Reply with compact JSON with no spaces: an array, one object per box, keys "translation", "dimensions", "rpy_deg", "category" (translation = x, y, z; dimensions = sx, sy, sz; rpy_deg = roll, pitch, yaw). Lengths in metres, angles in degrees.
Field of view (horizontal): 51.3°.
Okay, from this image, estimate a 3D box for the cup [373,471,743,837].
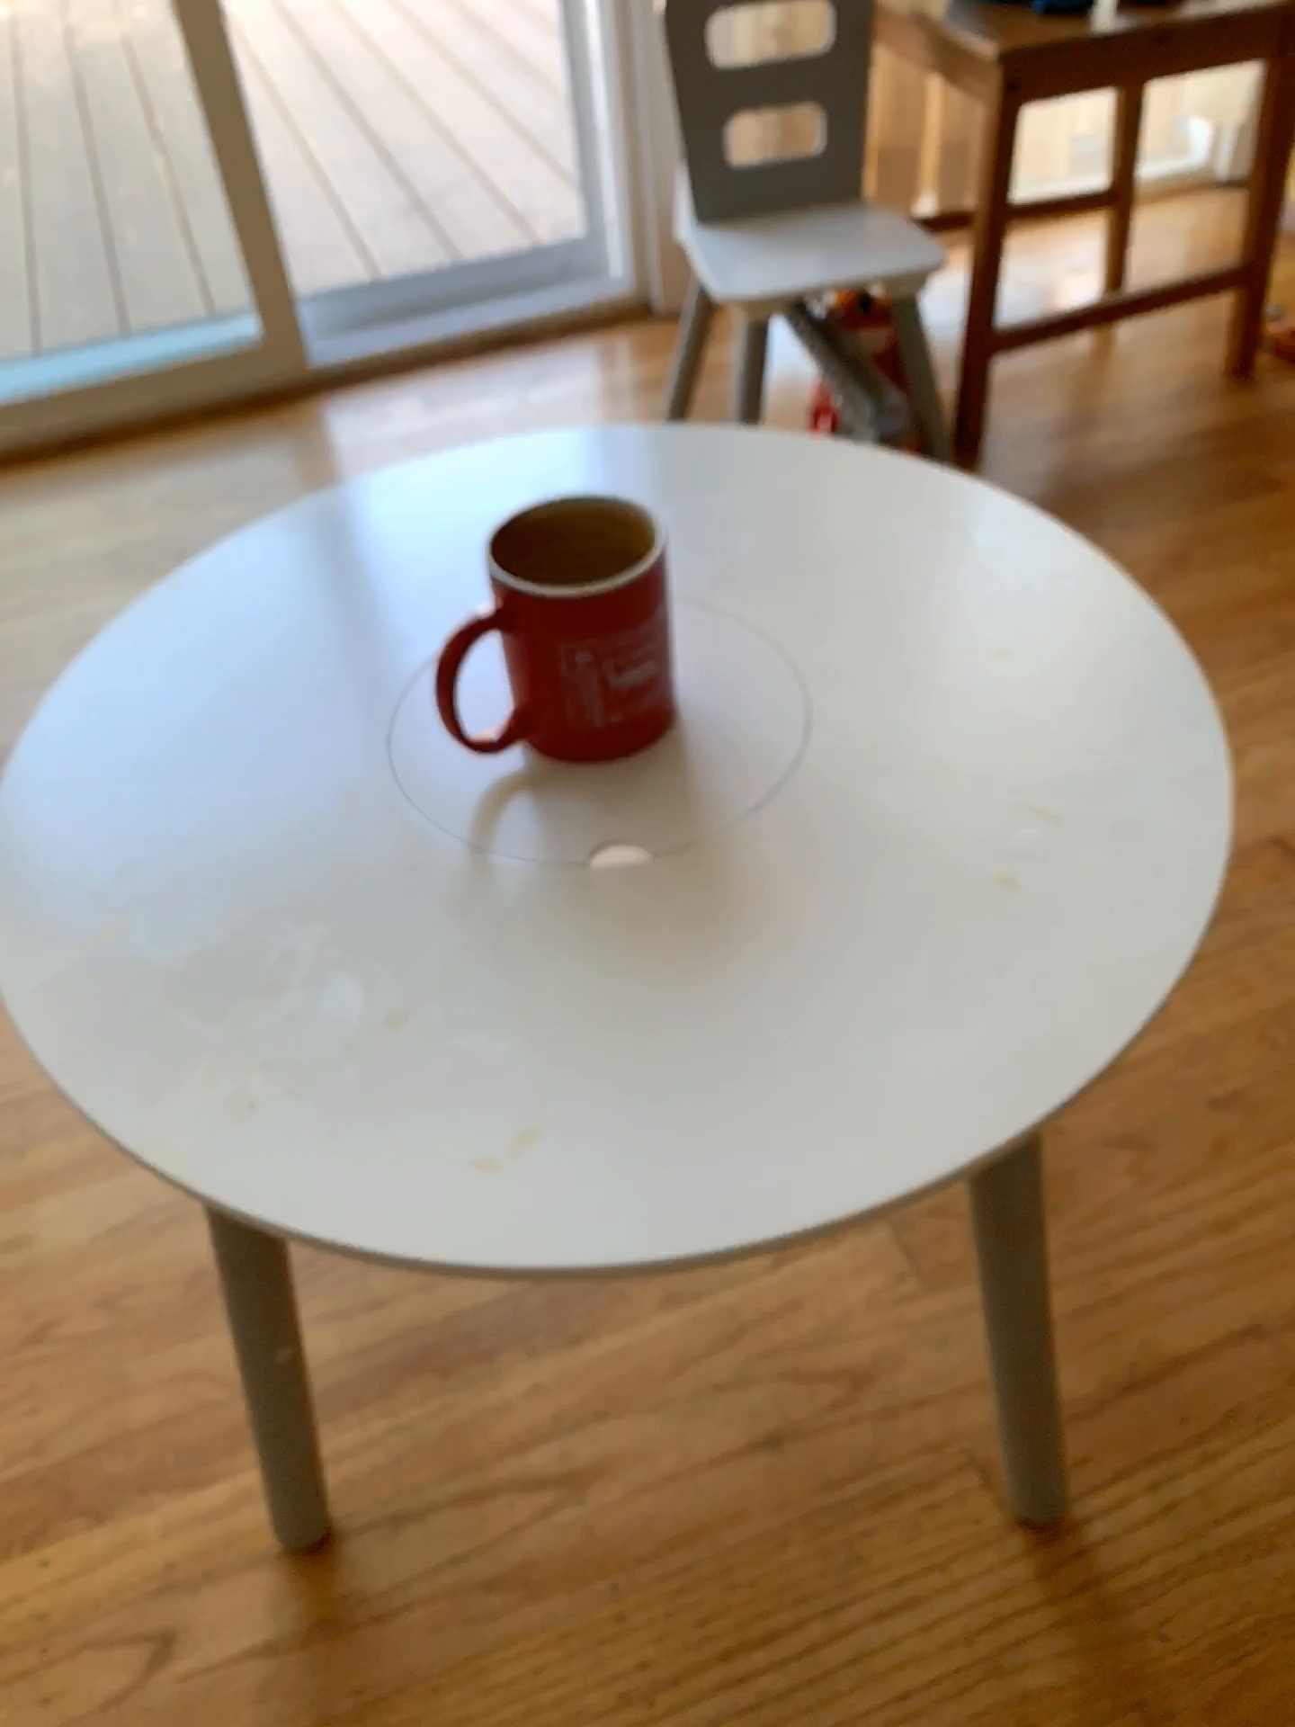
[{"translation":[-0.037,-0.098,0.610],"dimensions":[0.130,0.090,0.090],"rpy_deg":[-29,50,-21],"category":"cup"}]
